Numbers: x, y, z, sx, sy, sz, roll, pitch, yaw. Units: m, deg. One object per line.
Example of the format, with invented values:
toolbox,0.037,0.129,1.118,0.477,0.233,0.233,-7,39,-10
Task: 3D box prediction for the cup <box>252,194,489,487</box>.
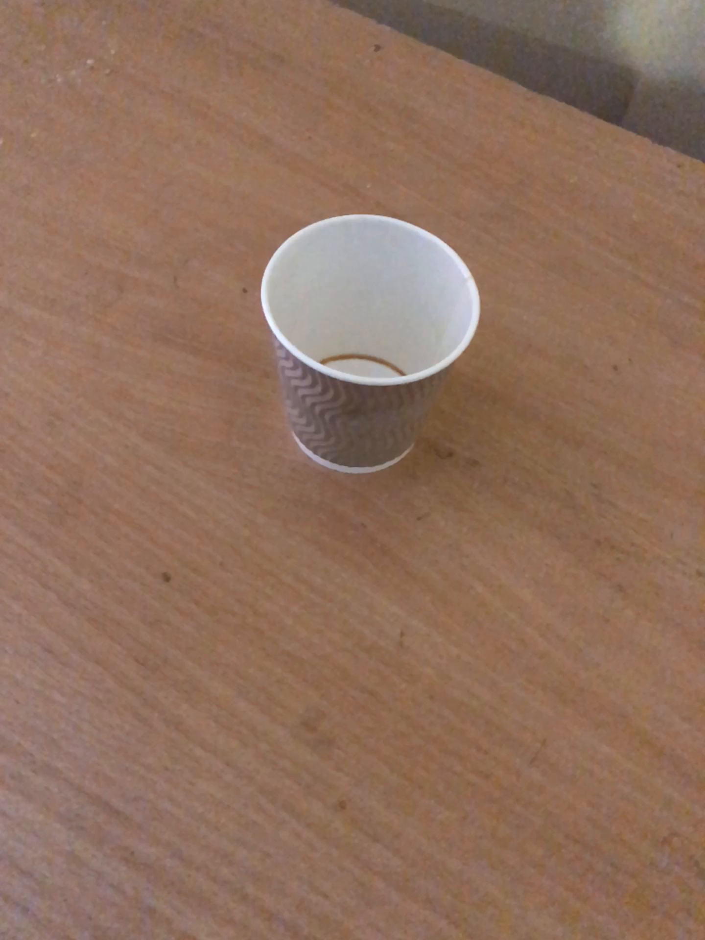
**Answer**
cup,0.004,-0.043,0.268,0.067,0.064,0.074,0,59,-2
